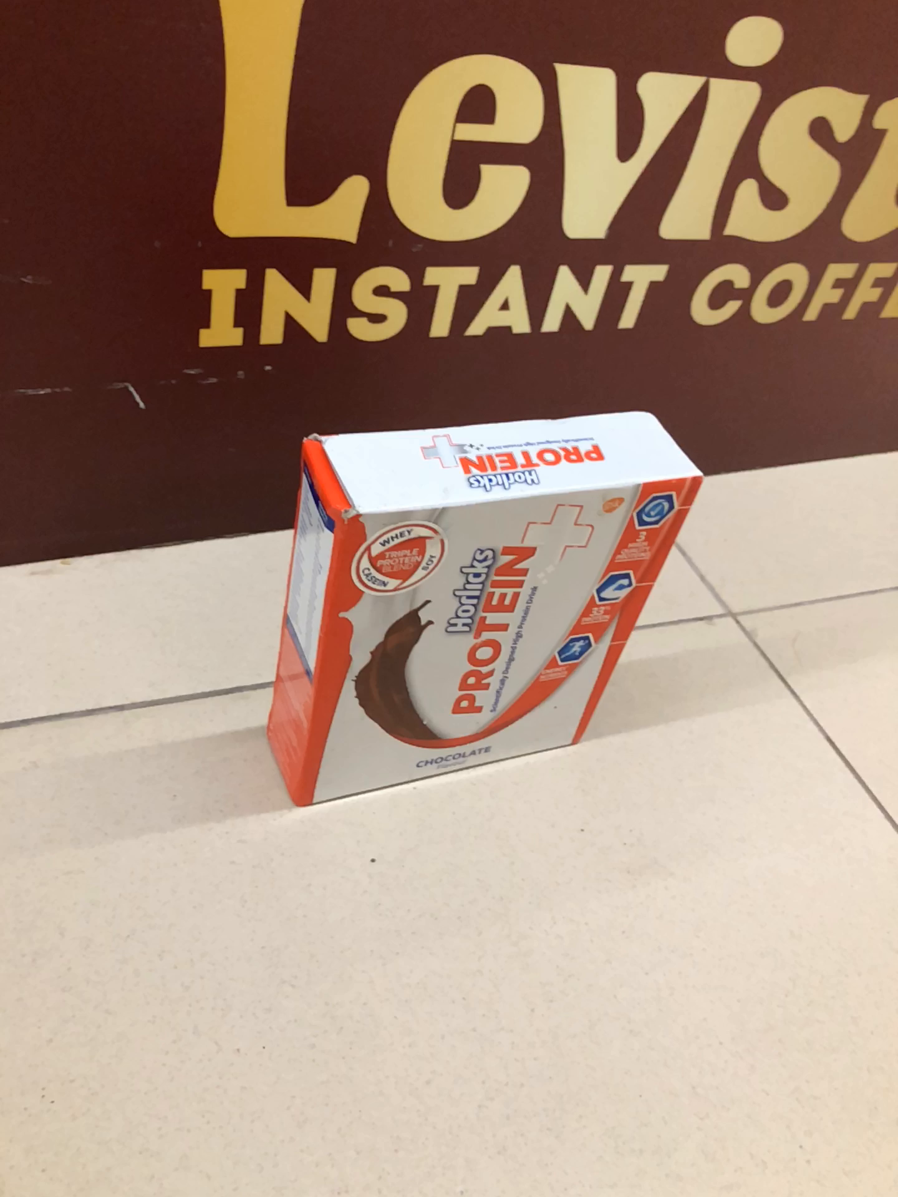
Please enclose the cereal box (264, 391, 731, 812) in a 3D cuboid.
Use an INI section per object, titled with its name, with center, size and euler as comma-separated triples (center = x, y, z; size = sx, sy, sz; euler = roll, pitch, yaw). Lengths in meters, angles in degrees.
[cereal box]
center = 0.010, 0.002, 0.380
size = 0.140, 0.149, 0.050
euler = -9, 47, -25
